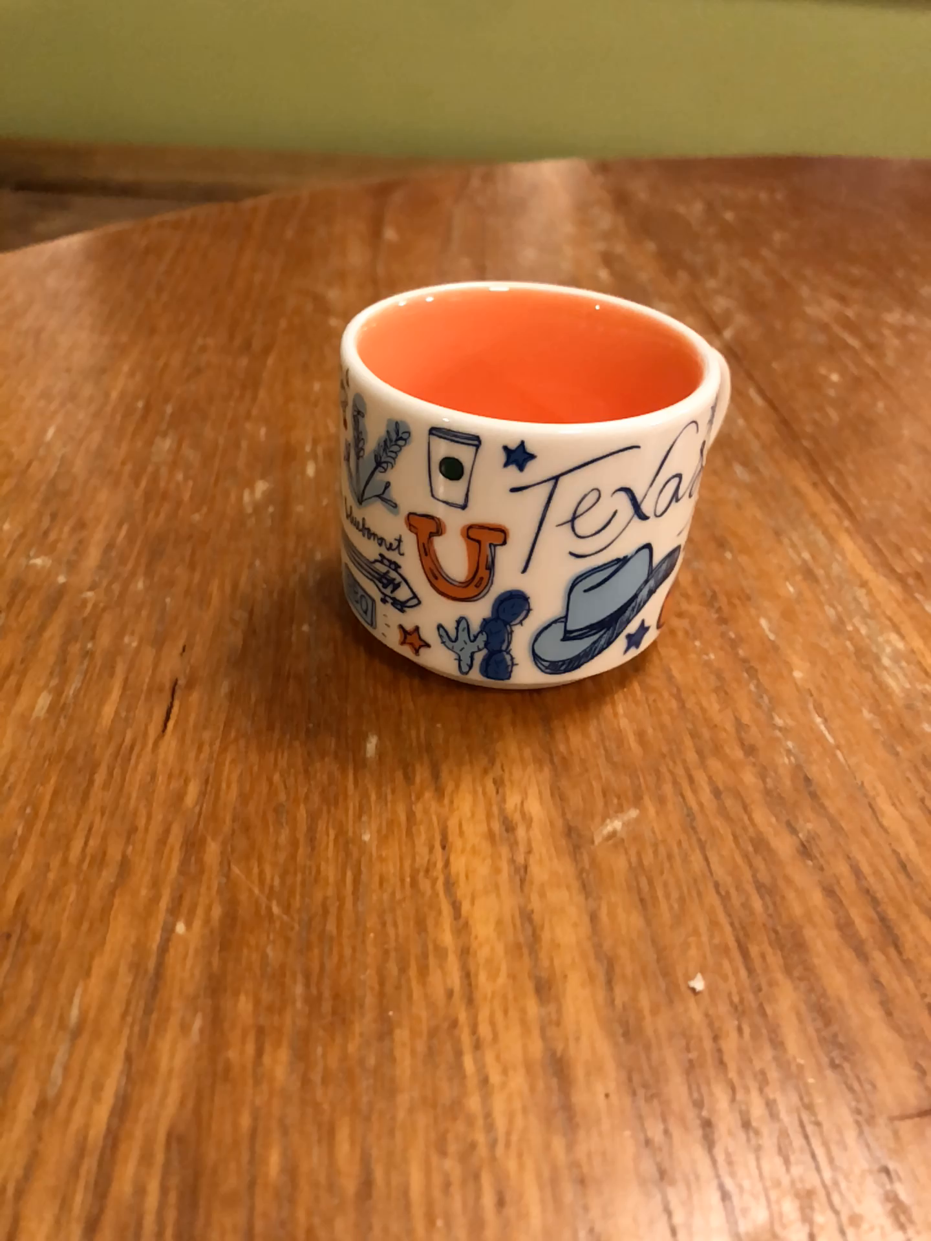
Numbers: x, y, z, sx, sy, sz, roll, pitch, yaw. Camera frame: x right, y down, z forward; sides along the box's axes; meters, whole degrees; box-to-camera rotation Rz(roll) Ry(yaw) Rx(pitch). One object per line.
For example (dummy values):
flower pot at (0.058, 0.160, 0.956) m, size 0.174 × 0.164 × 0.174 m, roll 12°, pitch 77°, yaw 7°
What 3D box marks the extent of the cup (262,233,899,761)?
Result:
cup at (0.017, -0.027, 0.176) m, size 0.077 × 0.046 × 0.064 m, roll -25°, pitch 45°, yaw -33°
